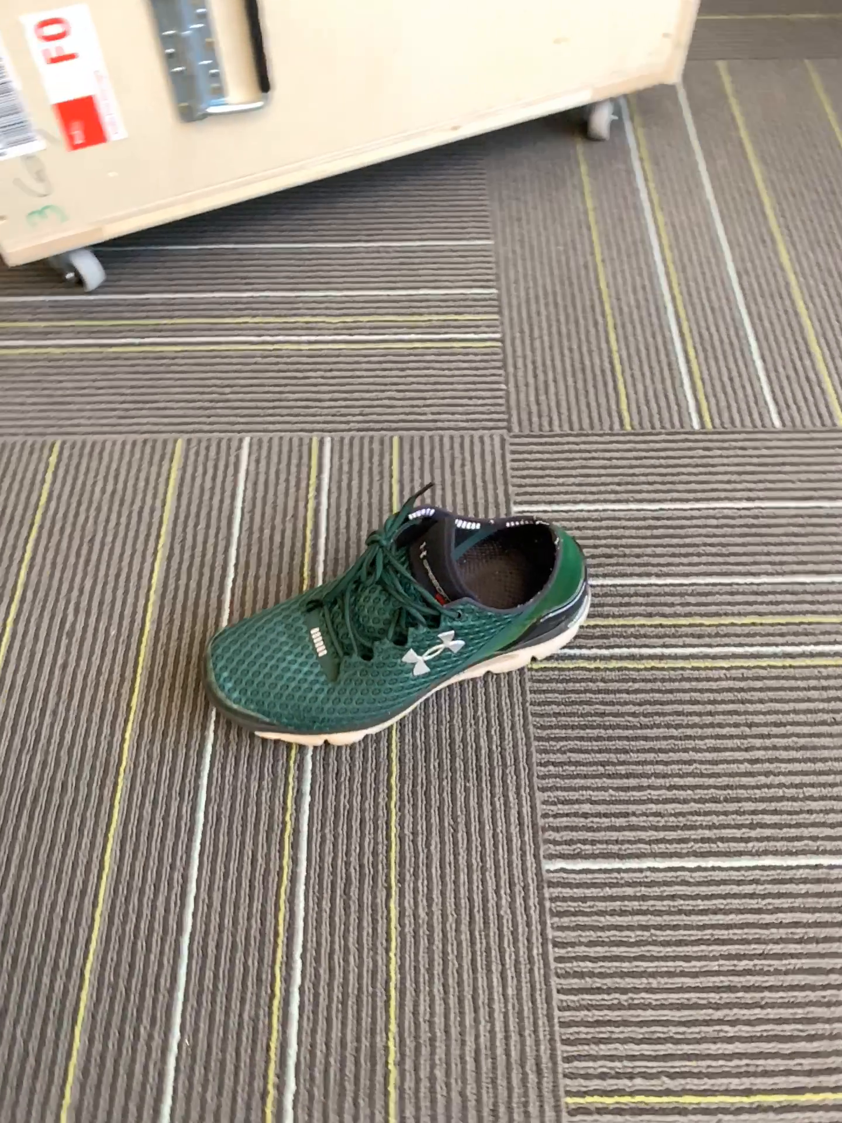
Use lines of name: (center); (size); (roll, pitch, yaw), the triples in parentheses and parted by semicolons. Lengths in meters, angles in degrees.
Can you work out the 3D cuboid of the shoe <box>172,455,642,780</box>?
shoe: (-0.011, 0.042, 0.645); (0.300, 0.120, 0.120); (-16, 60, -9)
